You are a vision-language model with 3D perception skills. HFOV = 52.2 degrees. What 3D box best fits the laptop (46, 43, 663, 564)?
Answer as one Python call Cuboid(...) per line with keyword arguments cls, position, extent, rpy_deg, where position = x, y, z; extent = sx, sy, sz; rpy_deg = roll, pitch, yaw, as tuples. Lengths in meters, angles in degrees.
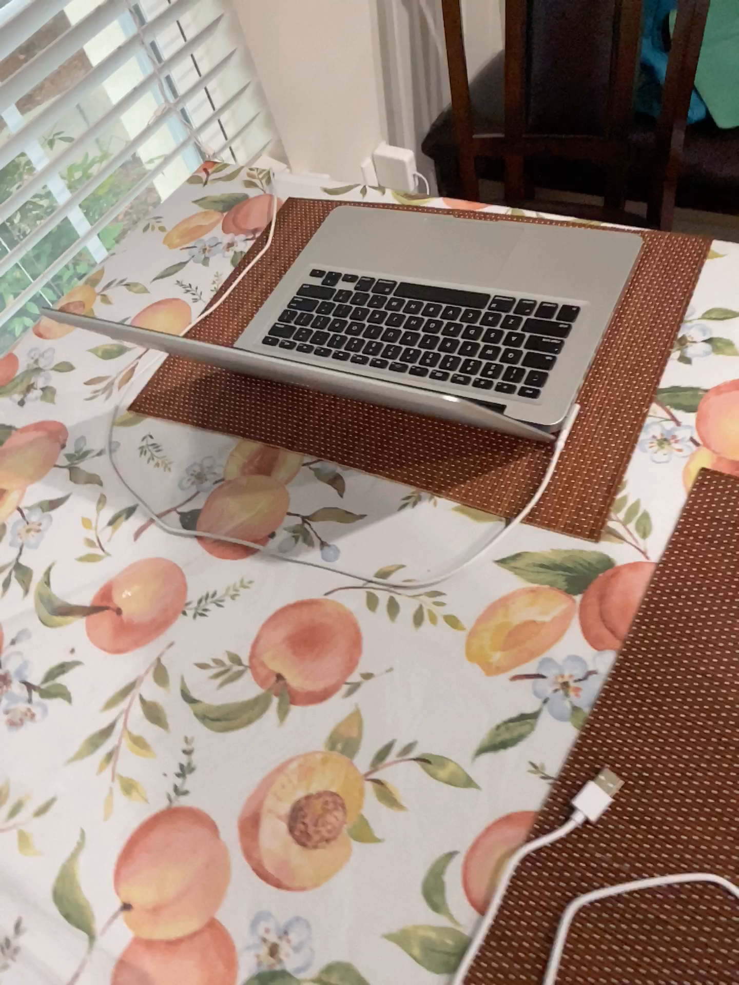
Cuboid(cls="laptop", position=(0.011, -0.174, 0.591), extent=(0.317, 0.162, 0.349), rpy_deg=(16, 62, 26))
